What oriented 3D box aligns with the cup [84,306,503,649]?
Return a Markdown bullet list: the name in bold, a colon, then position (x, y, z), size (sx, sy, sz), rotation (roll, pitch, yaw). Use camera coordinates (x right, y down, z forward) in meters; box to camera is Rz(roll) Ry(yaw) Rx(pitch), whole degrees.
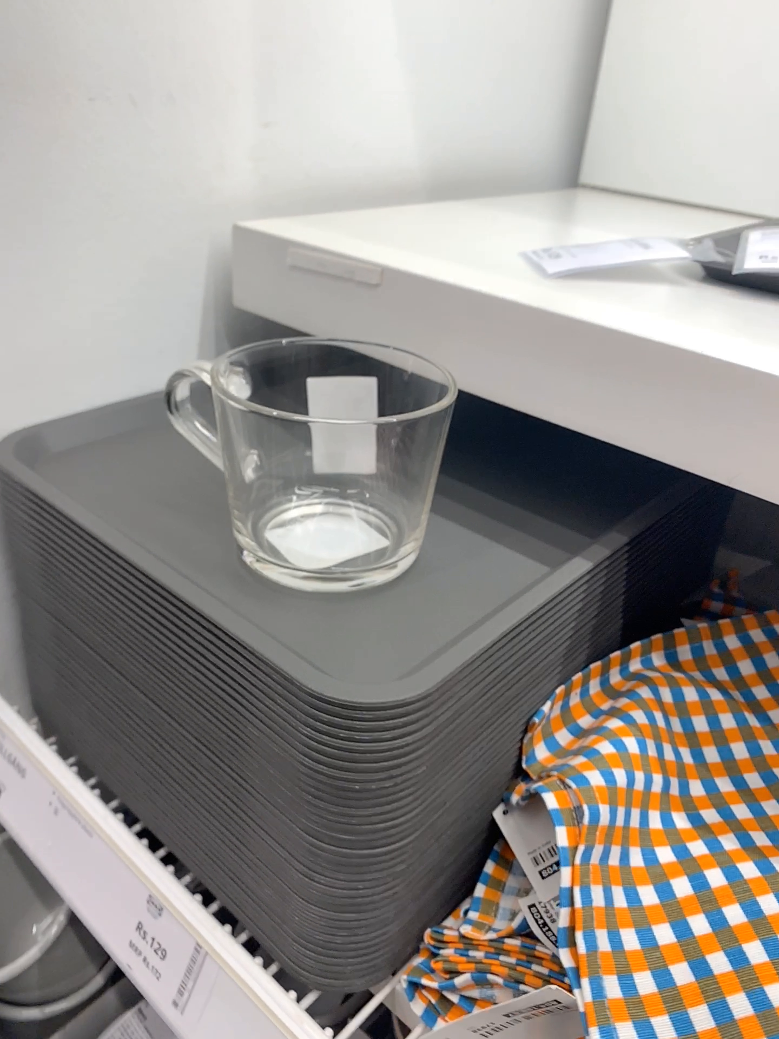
- **cup**: position (-0.038, -0.028, 0.338), size (0.130, 0.080, 0.100), rotation (20, 32, 25)
